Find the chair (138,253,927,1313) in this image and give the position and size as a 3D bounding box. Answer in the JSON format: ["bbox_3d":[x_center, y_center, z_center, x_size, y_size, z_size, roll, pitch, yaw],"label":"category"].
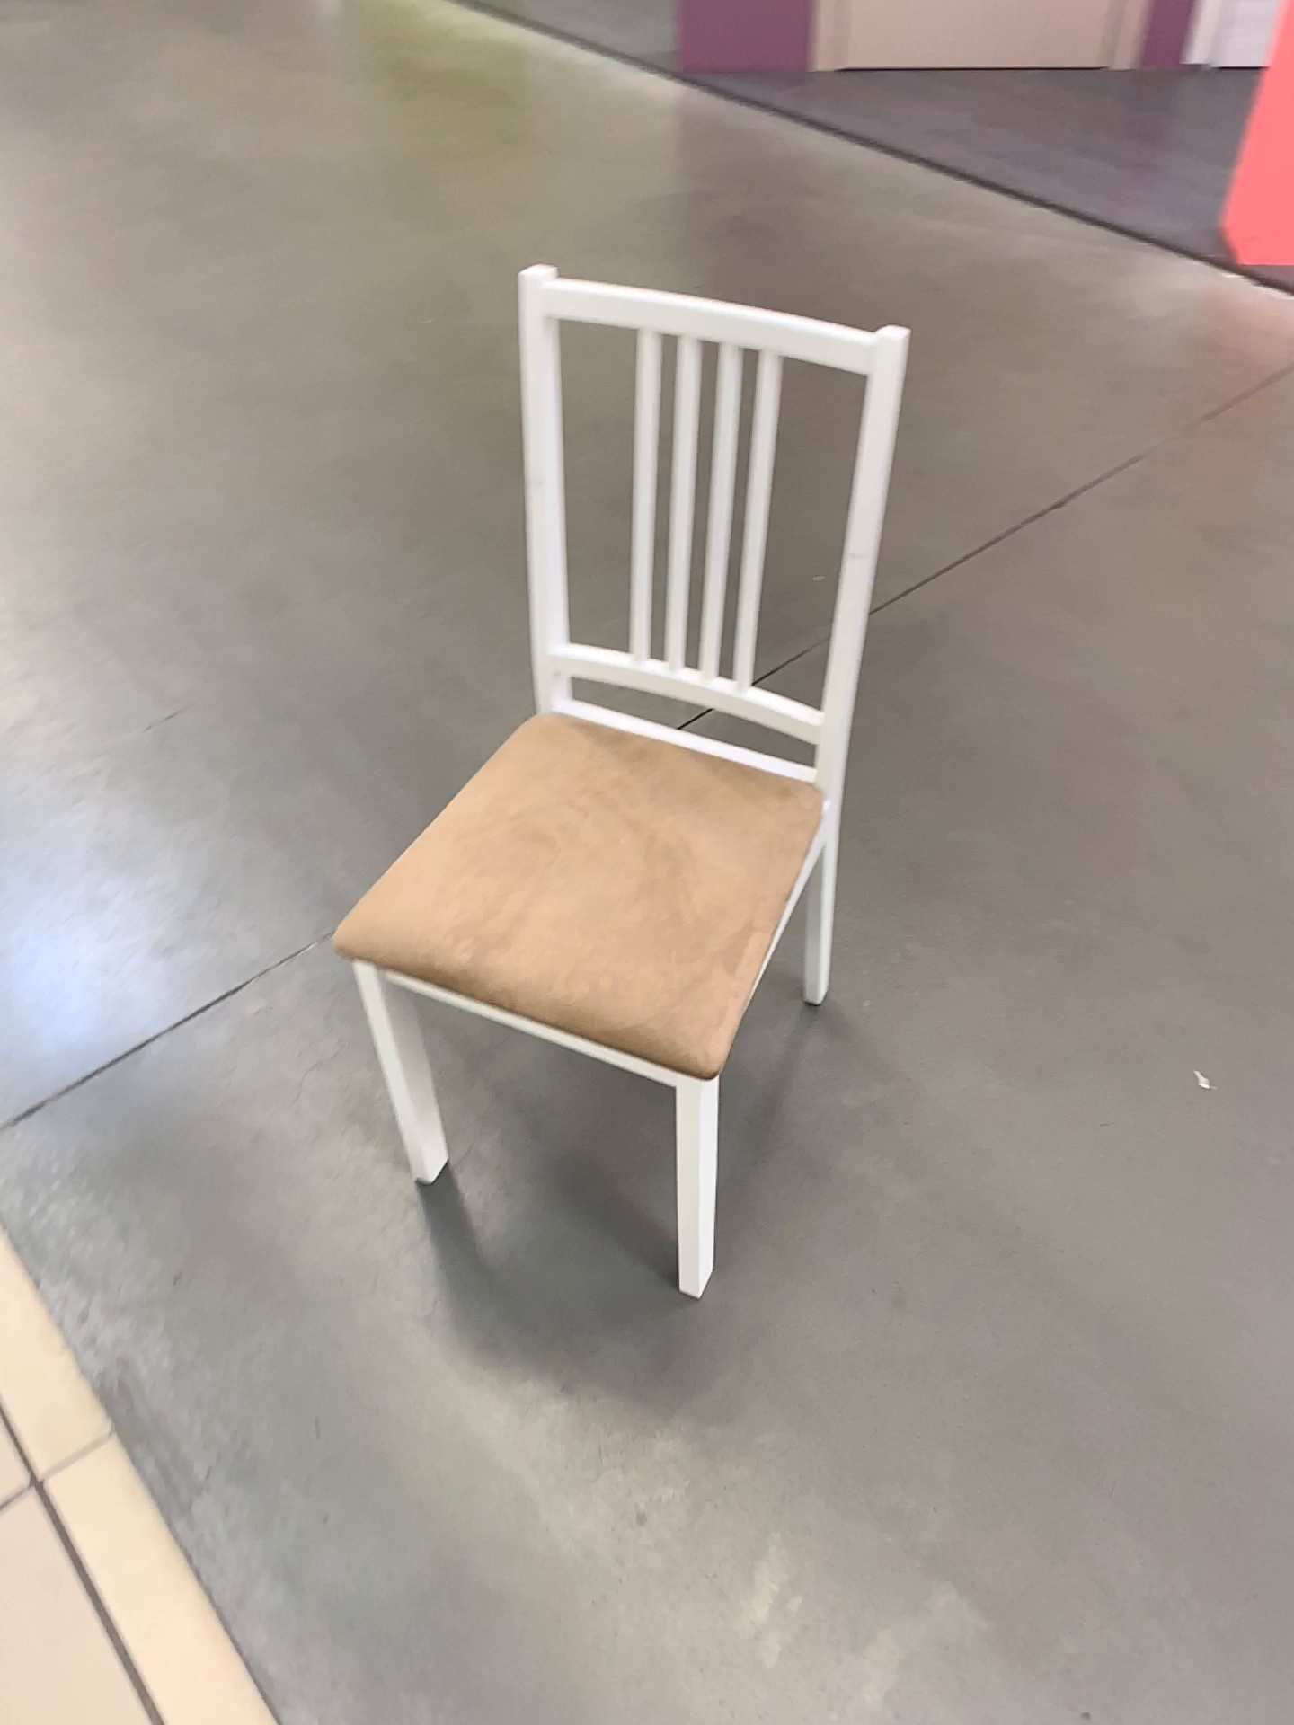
[{"bbox_3d":[-0.041,-0.044,1.261,0.400,0.817,0.501,16,49,17],"label":"chair"}]
